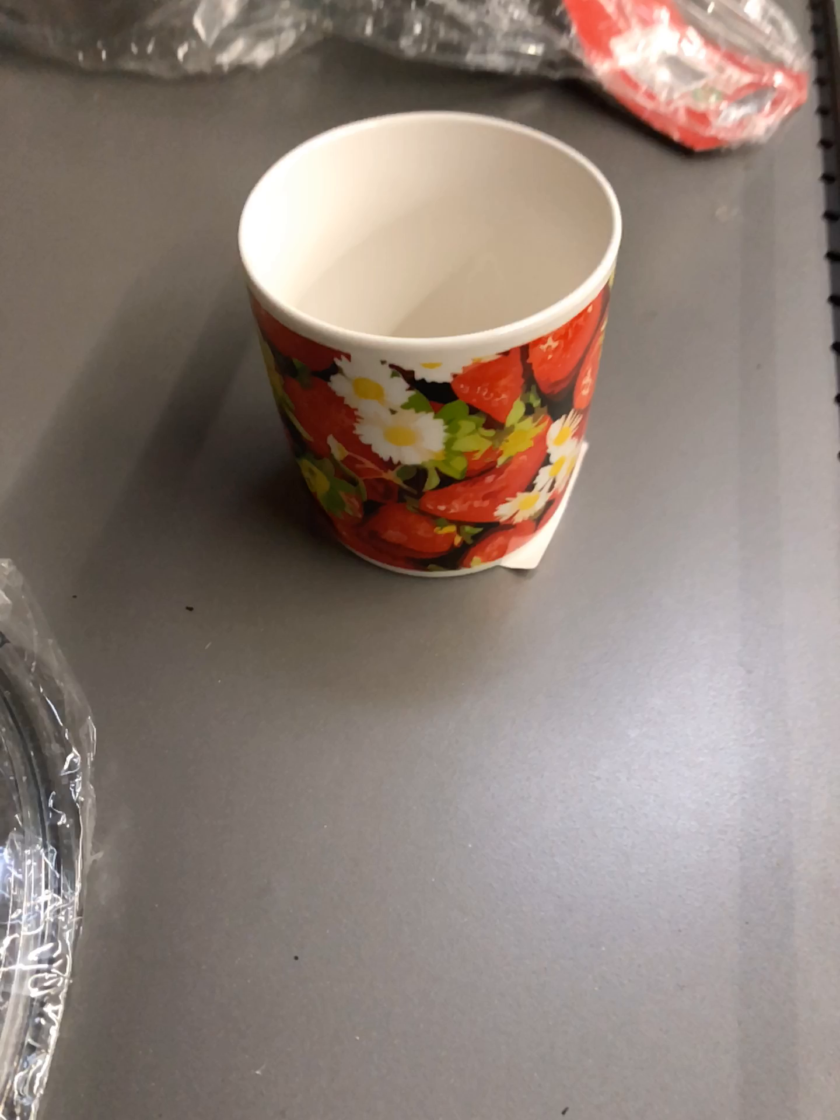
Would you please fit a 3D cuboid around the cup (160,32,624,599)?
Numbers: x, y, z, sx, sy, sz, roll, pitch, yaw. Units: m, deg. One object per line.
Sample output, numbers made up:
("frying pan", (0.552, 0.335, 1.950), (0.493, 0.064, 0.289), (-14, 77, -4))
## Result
("cup", (0.001, -0.068, 0.250), (0.090, 0.078, 0.129), (4, 54, 4))
